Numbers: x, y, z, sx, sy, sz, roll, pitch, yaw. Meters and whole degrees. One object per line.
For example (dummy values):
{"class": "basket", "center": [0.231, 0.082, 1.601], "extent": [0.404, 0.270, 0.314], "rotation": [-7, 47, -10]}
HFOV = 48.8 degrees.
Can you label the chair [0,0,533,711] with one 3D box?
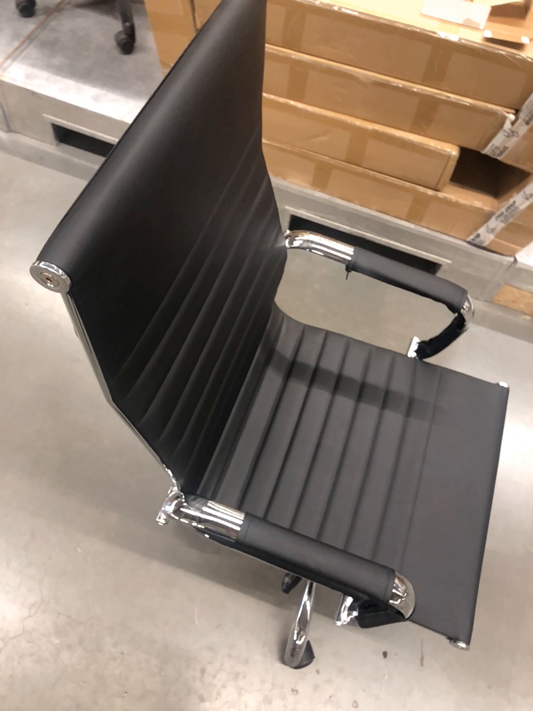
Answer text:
{"class": "chair", "center": [0.182, 0.112, 0.984], "extent": [0.740, 1.095, 0.673], "rotation": [21, 58, 5]}
